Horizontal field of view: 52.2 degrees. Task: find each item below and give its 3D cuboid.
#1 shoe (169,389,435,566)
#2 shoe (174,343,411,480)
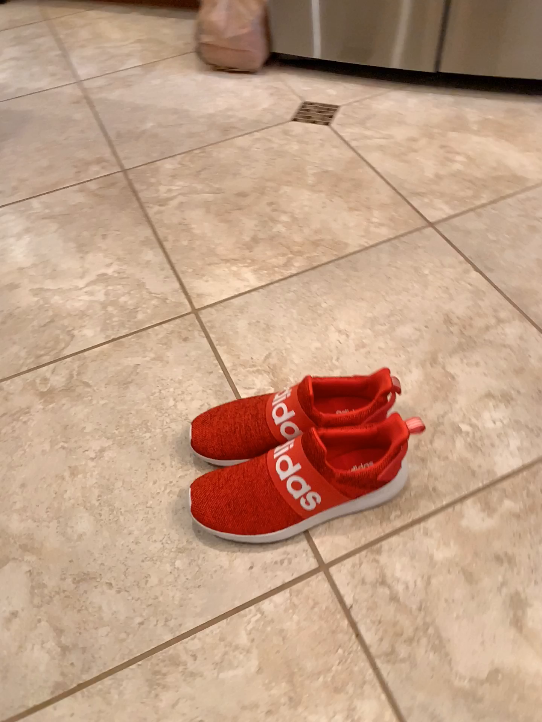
[{"bbox_3d":[0.035,0.150,0.712,0.300,0.119,0.118,-12,52,-5],"label":"shoe"},{"bbox_3d":[0.027,0.072,0.782,0.300,0.119,0.118,-6,51,0],"label":"shoe"}]
